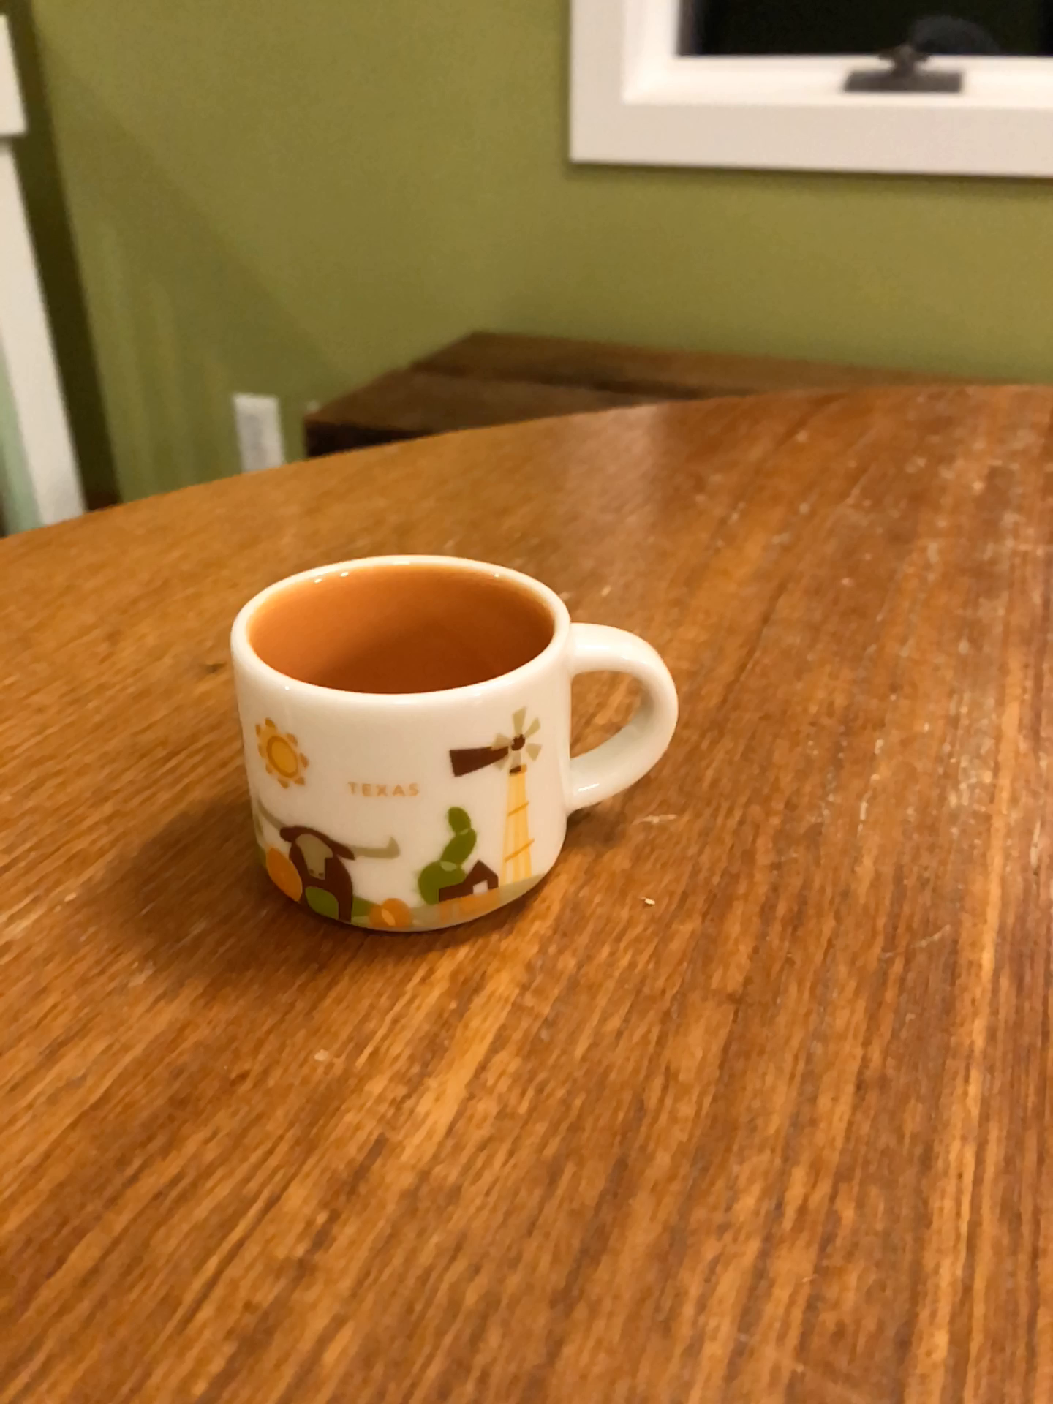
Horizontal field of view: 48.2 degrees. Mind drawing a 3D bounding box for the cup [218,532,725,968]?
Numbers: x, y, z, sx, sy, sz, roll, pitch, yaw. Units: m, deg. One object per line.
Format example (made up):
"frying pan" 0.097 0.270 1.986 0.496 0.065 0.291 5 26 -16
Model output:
"cup" -0.013 0.005 0.221 0.080 0.049 0.060 -6 29 -10
